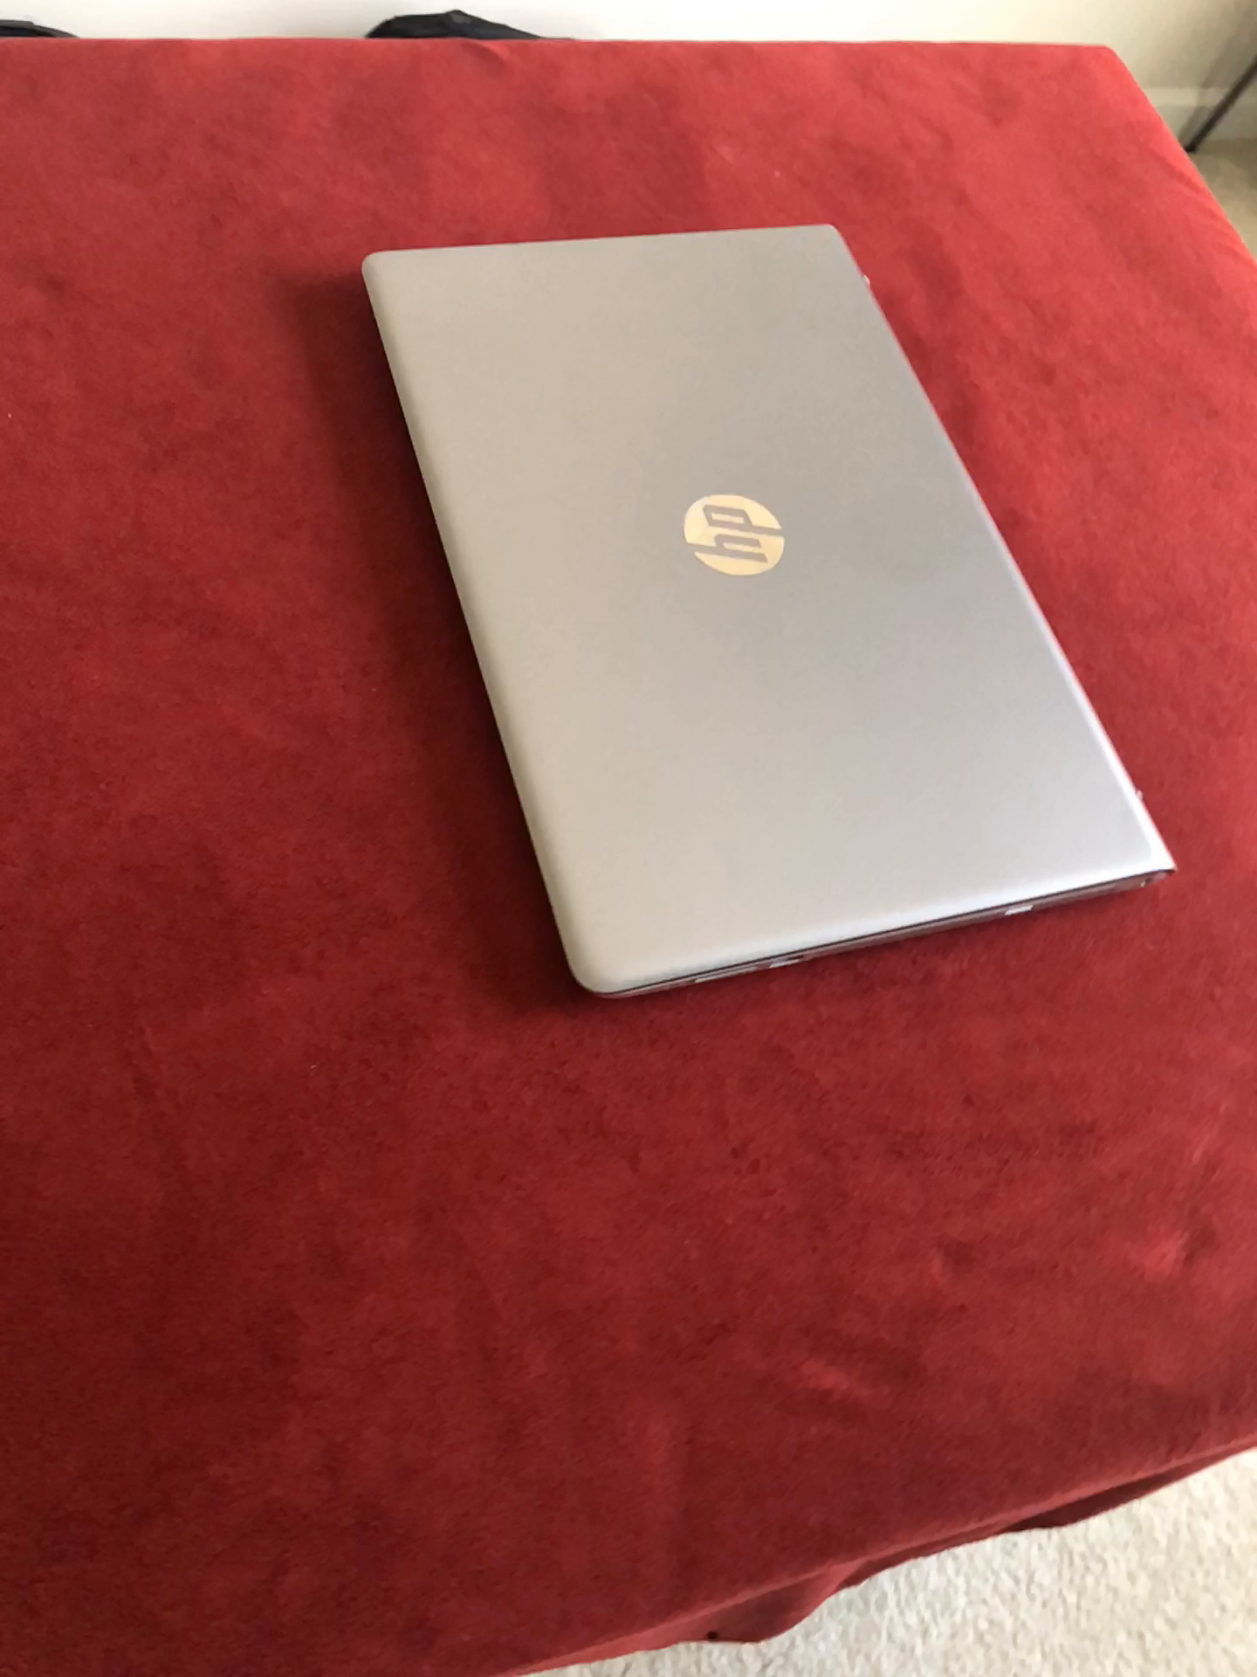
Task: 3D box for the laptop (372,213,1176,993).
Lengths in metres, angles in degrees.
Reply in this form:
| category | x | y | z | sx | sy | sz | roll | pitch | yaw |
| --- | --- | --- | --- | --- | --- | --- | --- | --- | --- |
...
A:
| category | x | y | z | sx | sy | sz | roll | pitch | yaw |
| --- | --- | --- | --- | --- | --- | --- | --- | --- | --- |
| laptop | 0.047 | -0.130 | 0.590 | 0.233 | 0.006 | 0.372 | -11 | 64 | -15 |
